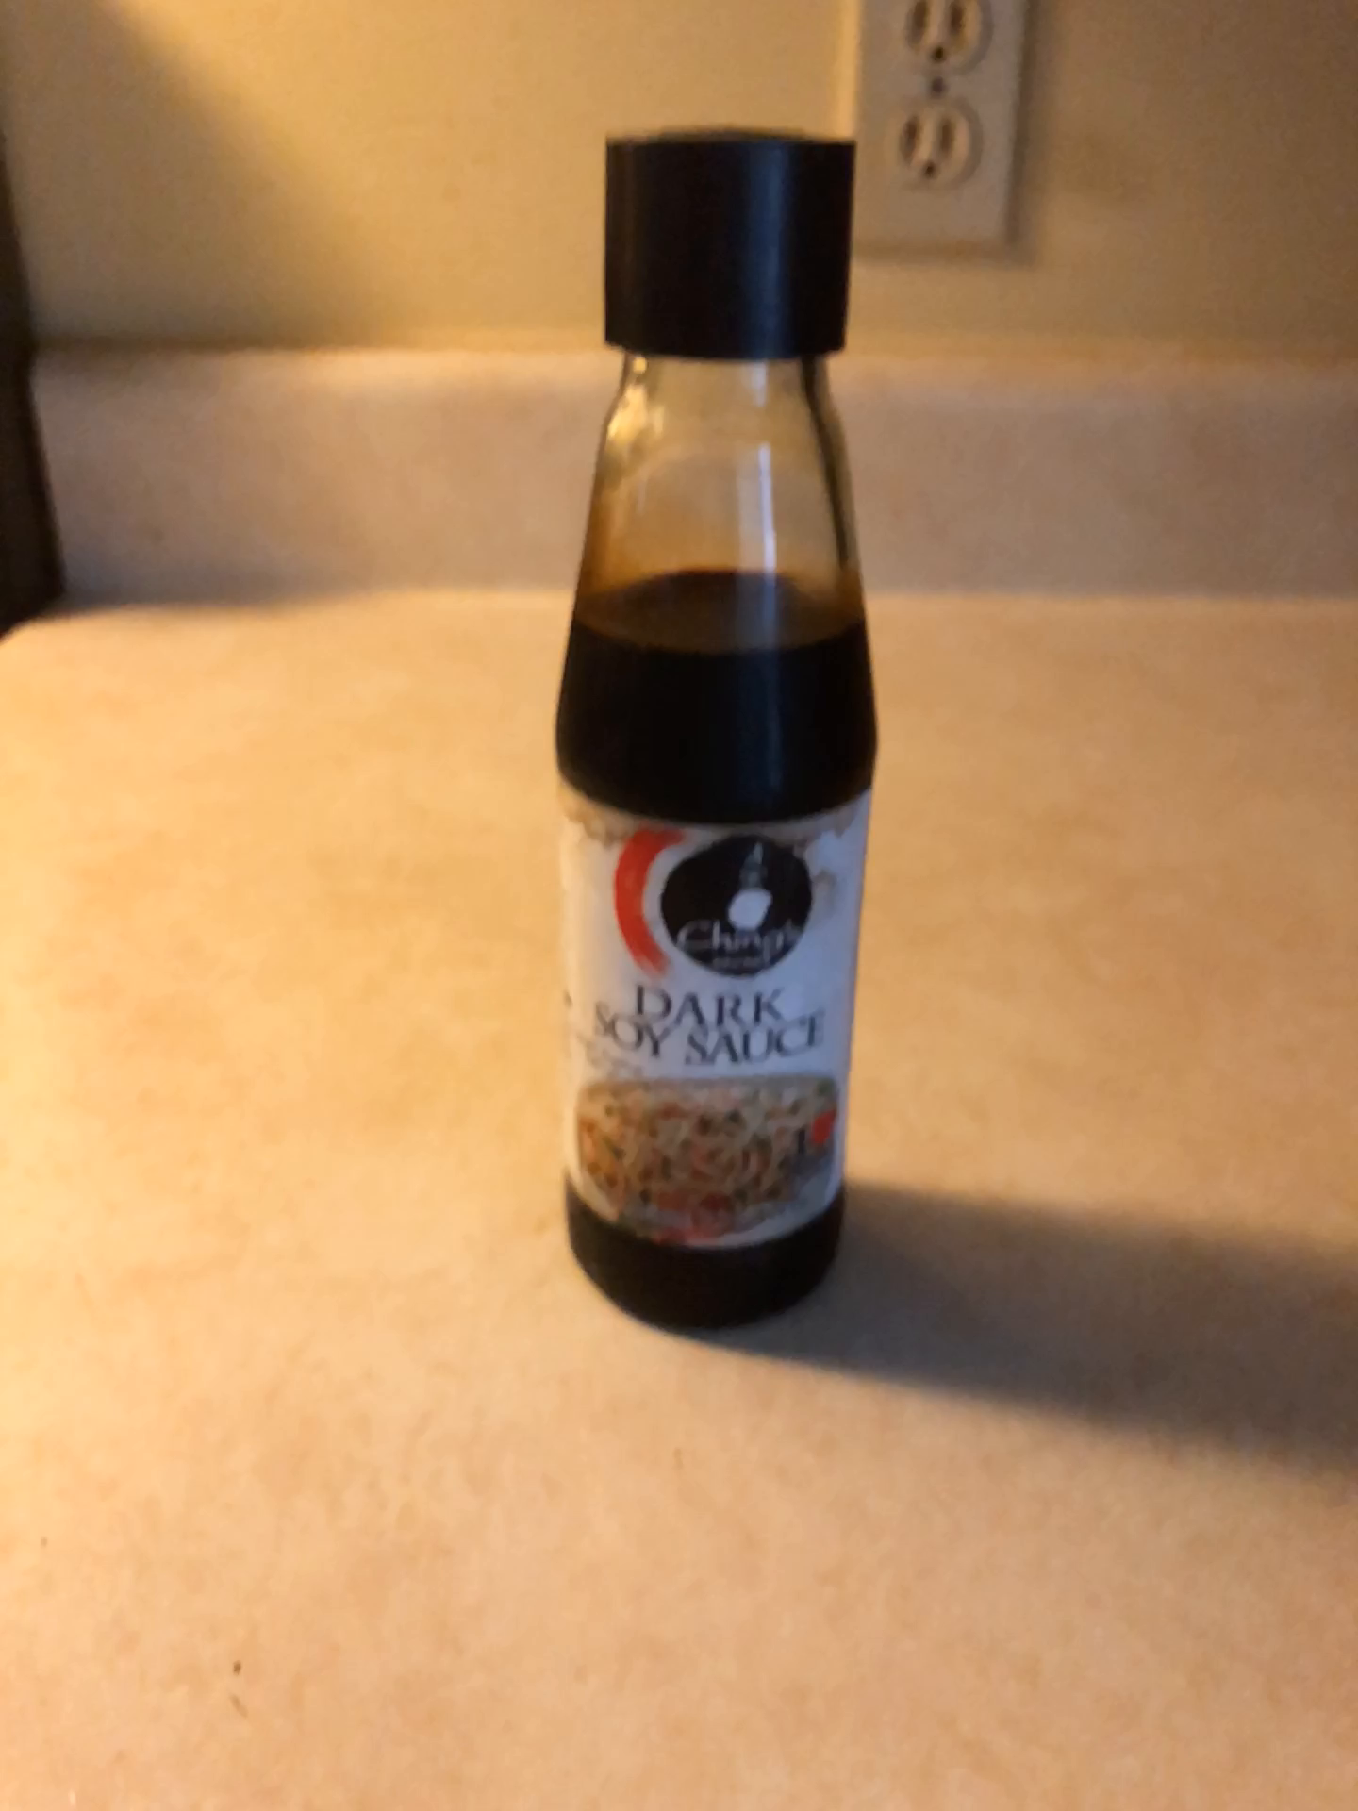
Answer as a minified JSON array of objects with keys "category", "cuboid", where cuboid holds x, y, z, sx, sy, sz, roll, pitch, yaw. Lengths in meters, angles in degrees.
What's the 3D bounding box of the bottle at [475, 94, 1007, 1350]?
[{"category":"bottle","cuboid":[0.004,-0.023,0.239,0.060,0.180,0.060,0,27,0]}]
